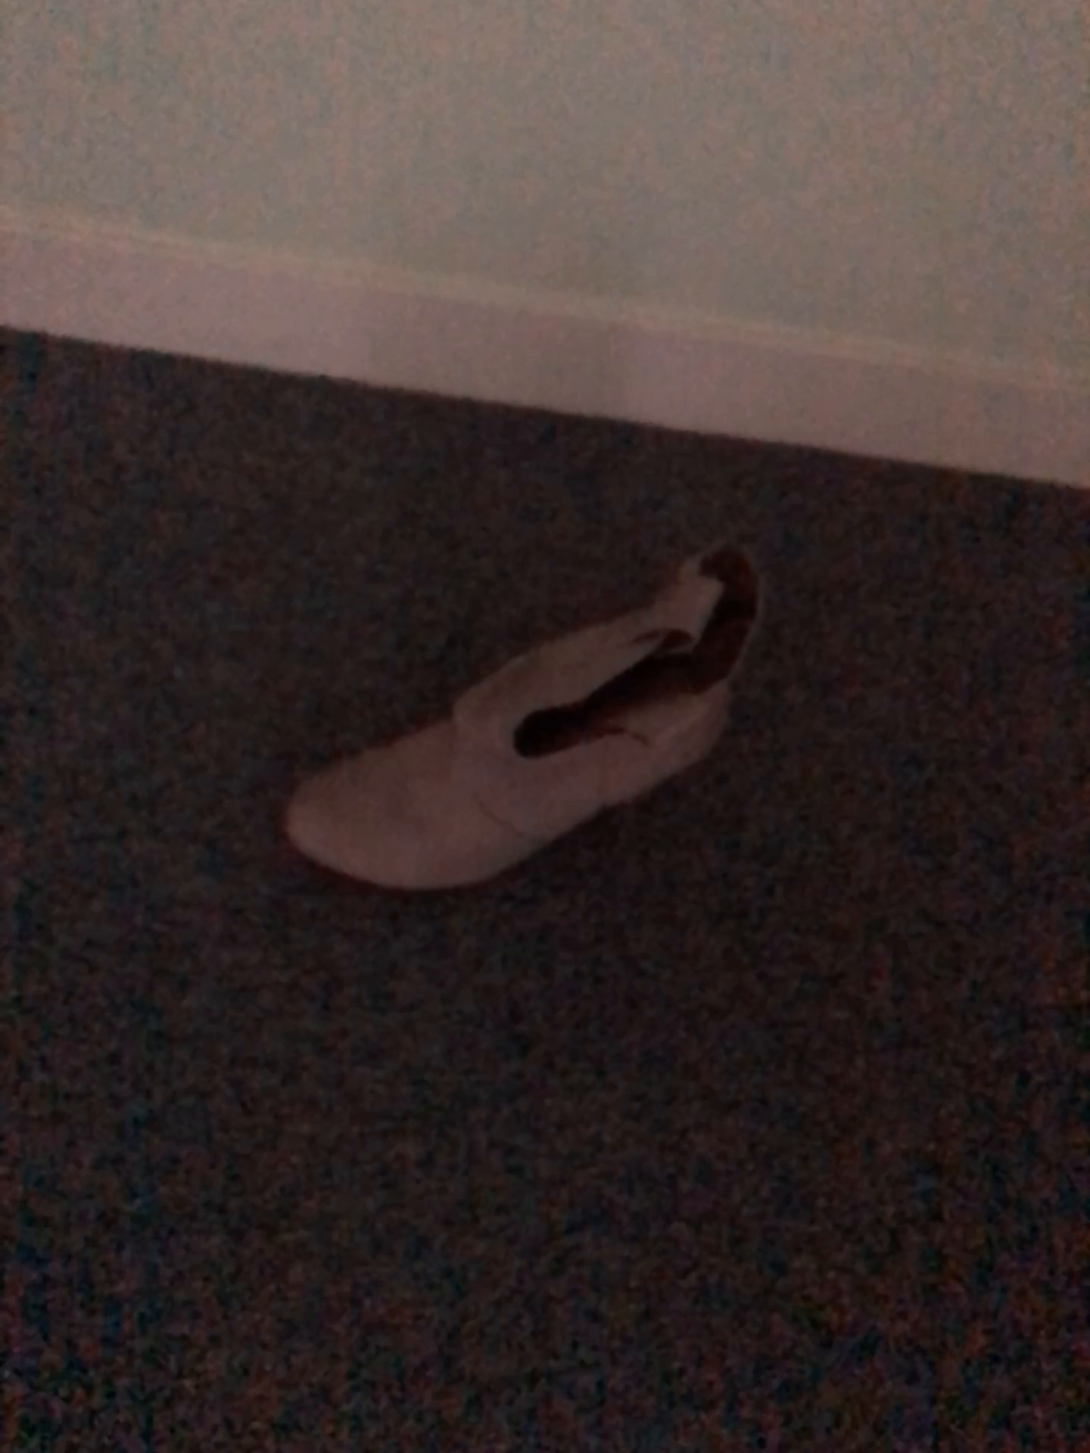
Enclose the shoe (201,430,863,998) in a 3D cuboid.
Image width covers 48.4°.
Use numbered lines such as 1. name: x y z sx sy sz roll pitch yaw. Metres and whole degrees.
1. shoe: -0.013 0.005 0.592 0.240 0.219 0.130 -17 66 -13
